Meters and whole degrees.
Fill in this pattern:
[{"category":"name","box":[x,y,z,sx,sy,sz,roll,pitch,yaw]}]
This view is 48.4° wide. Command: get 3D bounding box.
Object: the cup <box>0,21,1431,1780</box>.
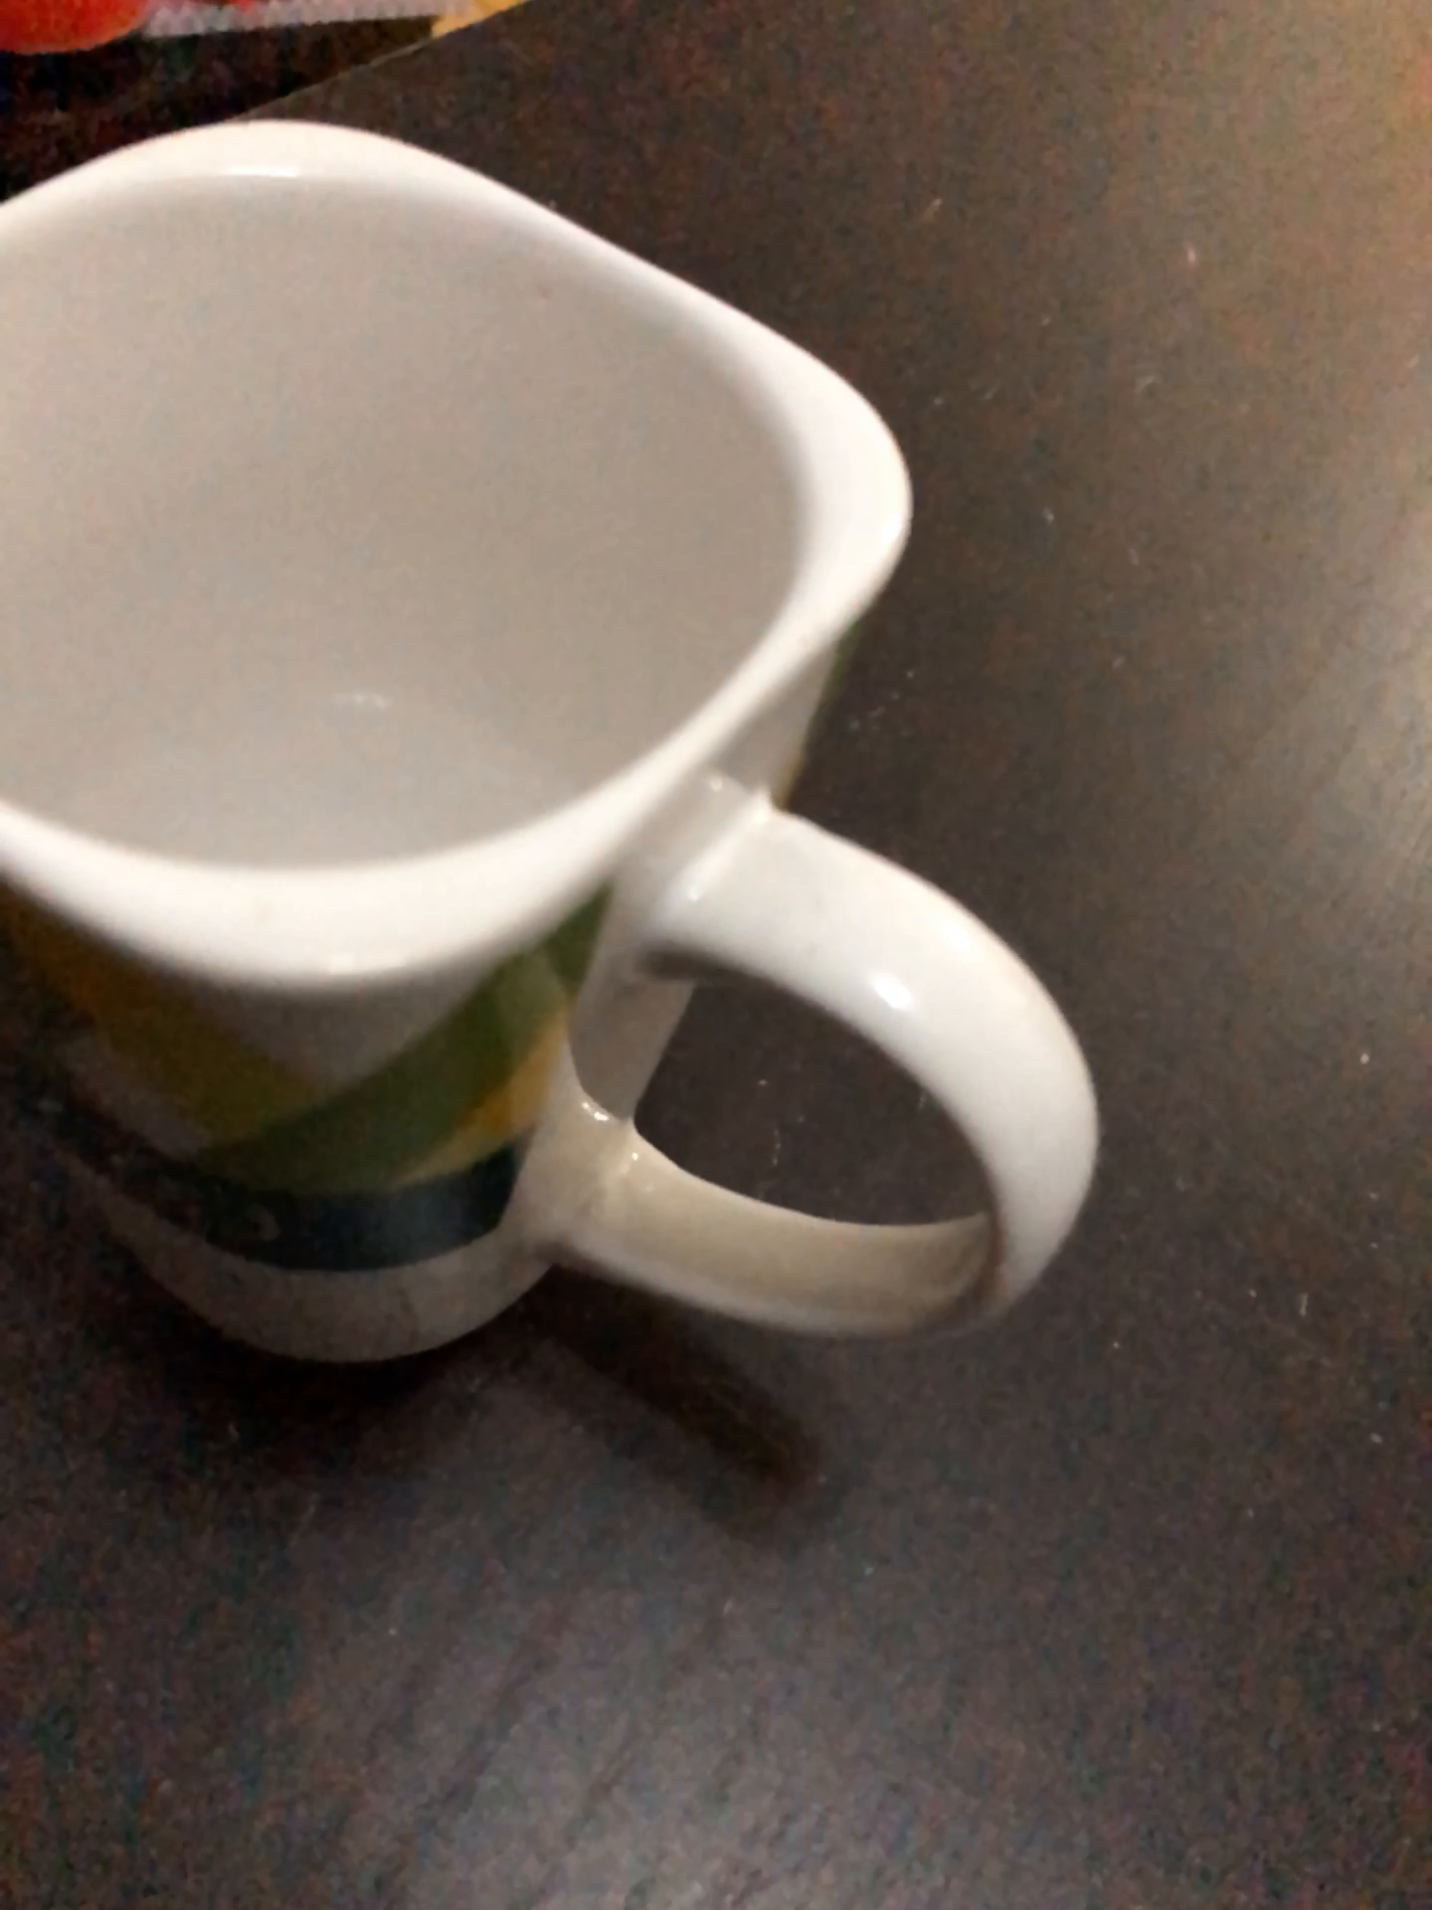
[{"category":"cup","box":[-0.018,-0.004,0.144,0.110,0.090,0.080,31,55,12]}]
